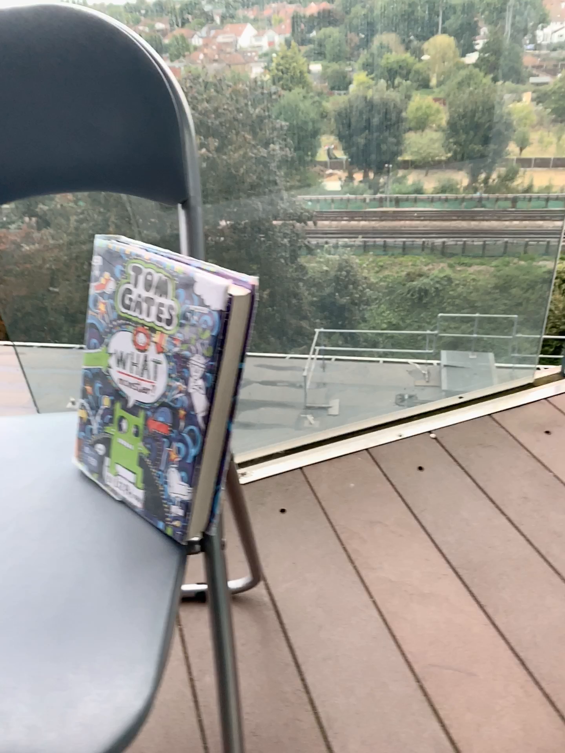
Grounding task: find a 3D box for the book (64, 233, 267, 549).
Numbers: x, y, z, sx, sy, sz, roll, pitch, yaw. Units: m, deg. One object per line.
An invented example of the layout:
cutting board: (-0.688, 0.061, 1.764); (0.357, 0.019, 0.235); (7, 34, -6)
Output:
book: (-0.103, 0.002, 0.457); (0.161, 0.199, 0.050); (23, 21, 36)
